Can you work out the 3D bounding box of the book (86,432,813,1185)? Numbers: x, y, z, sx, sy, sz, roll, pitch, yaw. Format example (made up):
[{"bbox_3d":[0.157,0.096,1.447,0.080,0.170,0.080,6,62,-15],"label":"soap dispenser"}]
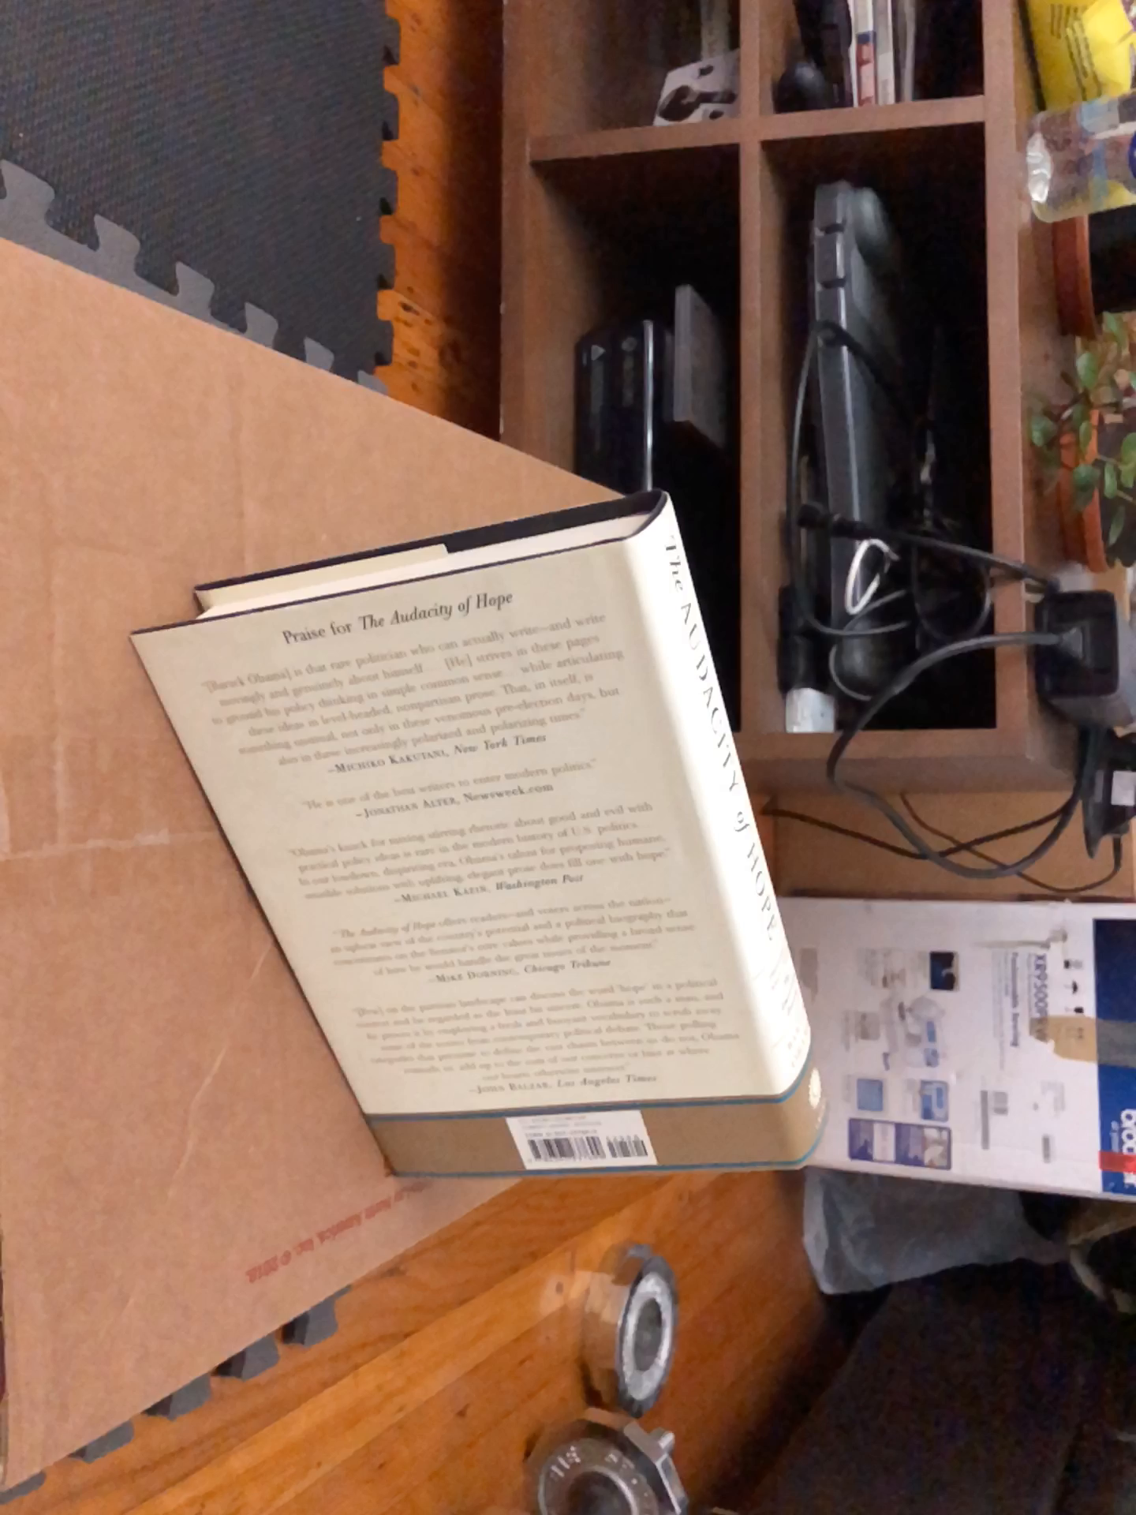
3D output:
[{"bbox_3d":[-0.024,0.035,0.430,0.060,0.169,0.250,-69,147,-56],"label":"book"}]
